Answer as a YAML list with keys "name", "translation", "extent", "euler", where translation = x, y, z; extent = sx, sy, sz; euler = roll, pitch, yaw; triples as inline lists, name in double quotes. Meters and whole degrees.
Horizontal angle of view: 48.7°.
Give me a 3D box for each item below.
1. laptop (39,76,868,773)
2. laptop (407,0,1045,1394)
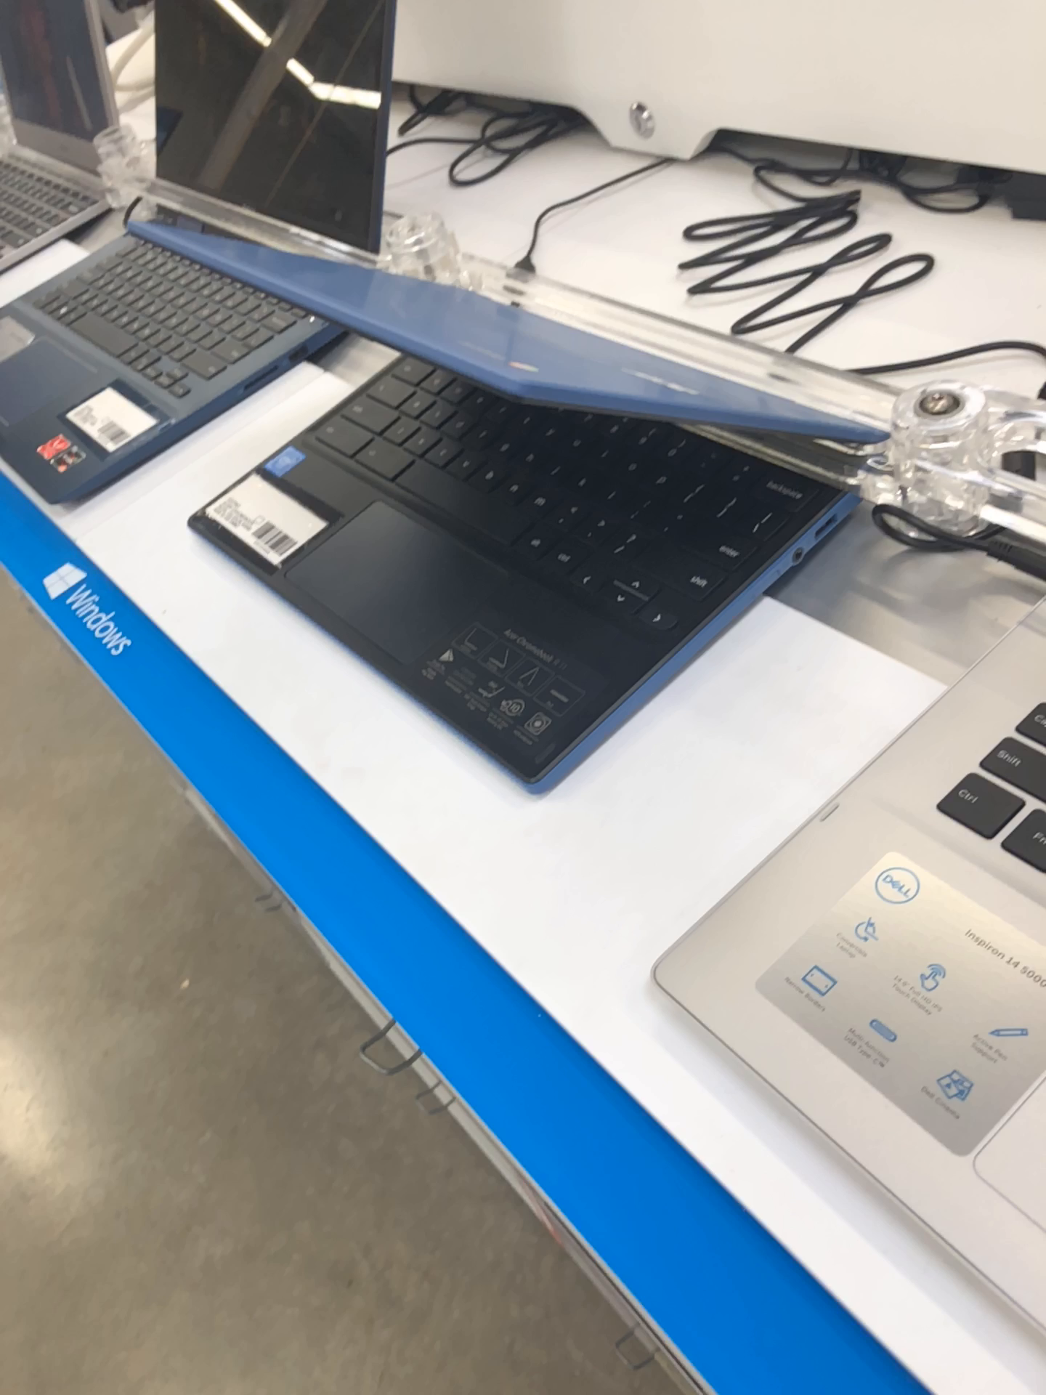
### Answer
- name: "laptop"
  translation: [-0.037, -0.134, 0.478]
  extent: [0.184, 0.128, 0.281]
  euler: [-41, 47, -16]
- name: "laptop"
  translation: [0.206, 0.014, 0.170]
  extent: [0.245, 0.216, 0.356]
  euler: [-40, 46, -14]
